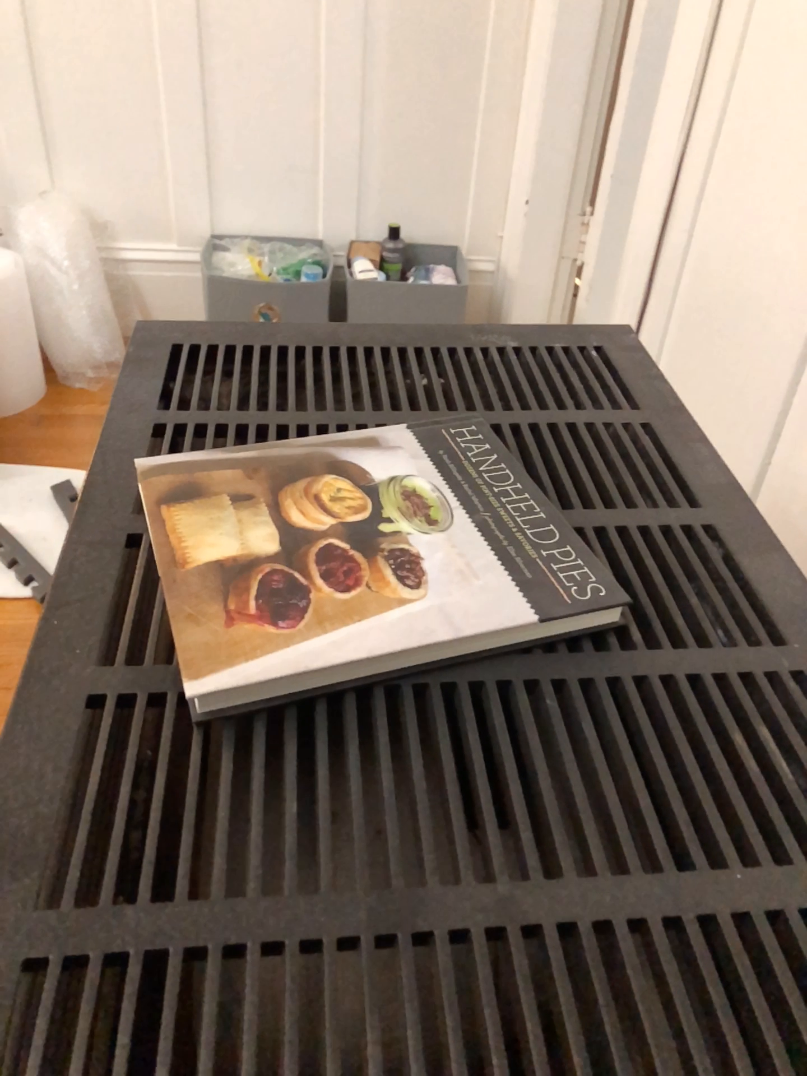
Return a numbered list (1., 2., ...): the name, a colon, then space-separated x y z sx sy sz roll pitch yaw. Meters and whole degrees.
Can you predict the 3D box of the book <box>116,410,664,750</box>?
1. book: -0.020 0.002 0.464 0.230 0.020 0.201 -10 38 -18
